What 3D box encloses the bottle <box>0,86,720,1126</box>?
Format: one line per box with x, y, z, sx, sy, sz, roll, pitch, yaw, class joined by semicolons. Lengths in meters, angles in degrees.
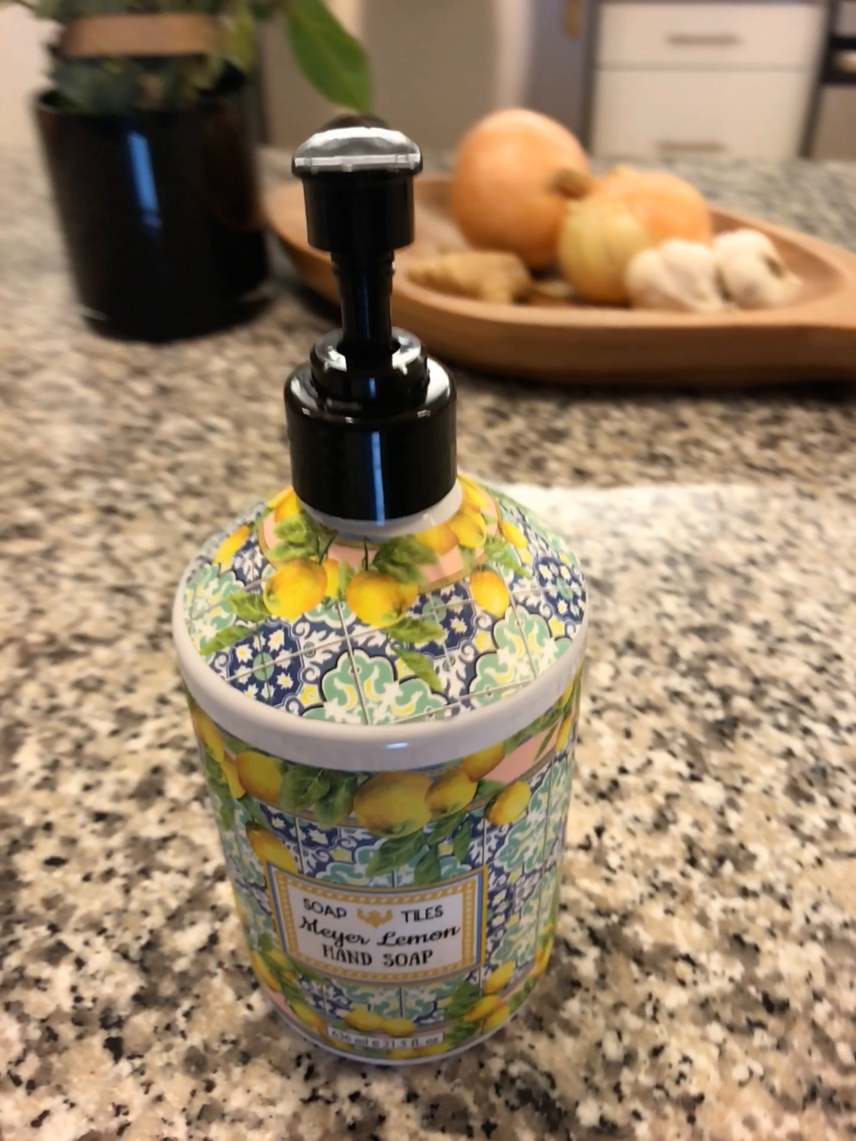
-0.008;0.018;0.197;0.090;0.199;0.091;-1;37;1;bottle
